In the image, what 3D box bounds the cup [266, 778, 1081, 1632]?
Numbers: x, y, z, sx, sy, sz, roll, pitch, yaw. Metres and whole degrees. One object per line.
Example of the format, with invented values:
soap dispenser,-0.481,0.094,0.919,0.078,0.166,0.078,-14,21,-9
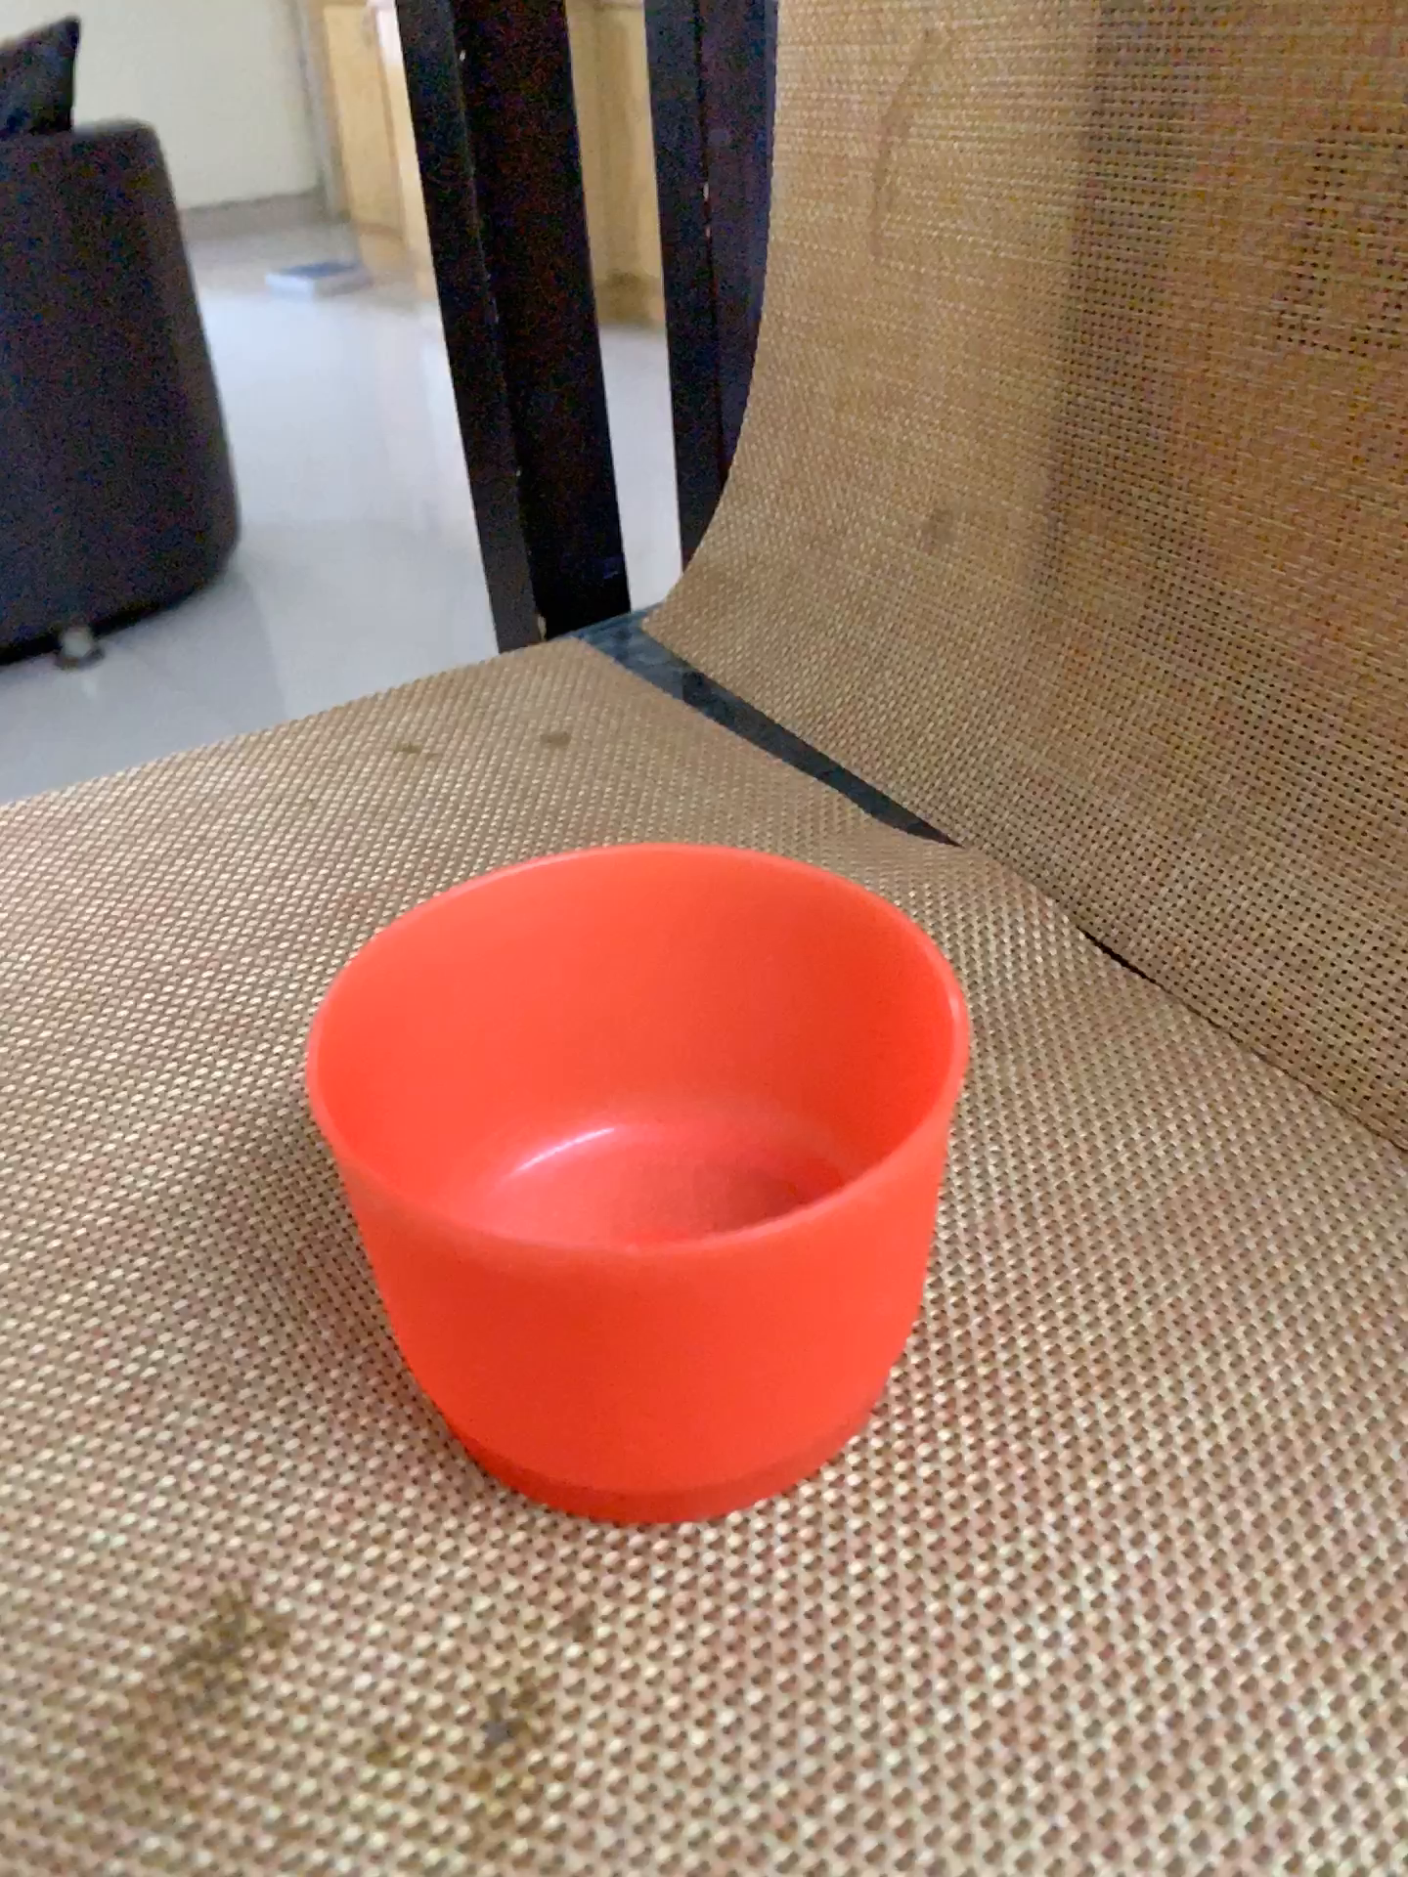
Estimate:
cup,-0.007,0.025,0.175,0.070,0.050,0.071,-2,34,1
